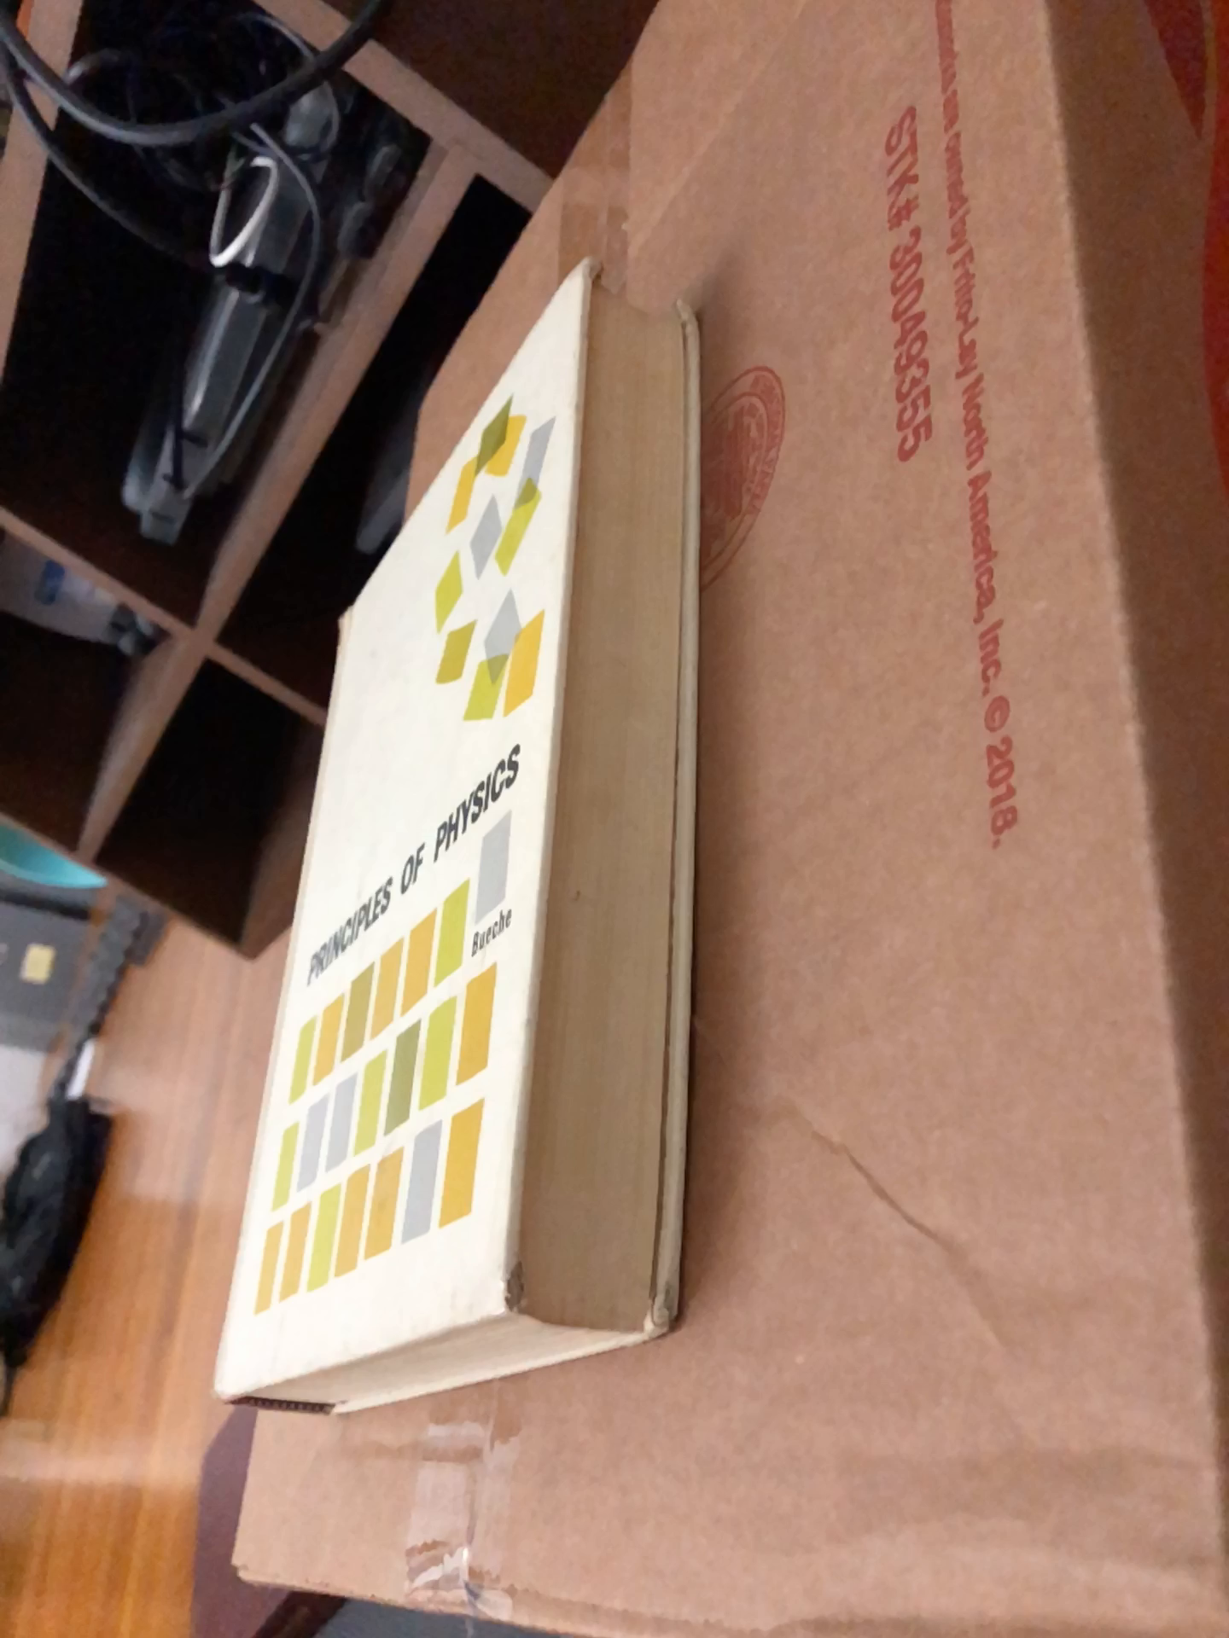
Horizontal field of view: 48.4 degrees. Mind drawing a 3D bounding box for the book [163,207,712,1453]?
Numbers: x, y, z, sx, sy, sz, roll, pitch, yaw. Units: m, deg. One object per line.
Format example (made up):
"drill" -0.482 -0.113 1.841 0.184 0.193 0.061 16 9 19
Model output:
"book" -0.043 0.011 0.331 0.180 0.040 0.250 -40 40 51
